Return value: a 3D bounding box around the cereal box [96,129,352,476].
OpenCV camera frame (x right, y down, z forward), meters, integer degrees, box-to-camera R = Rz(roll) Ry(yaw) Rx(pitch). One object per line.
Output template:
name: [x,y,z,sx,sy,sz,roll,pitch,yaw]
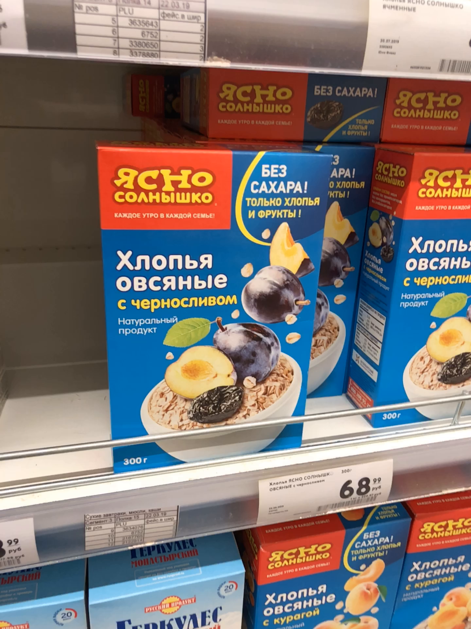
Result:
cereal box: [-0.012,-0.007,0.339,0.140,0.209,0.050,-3,22,-14]
